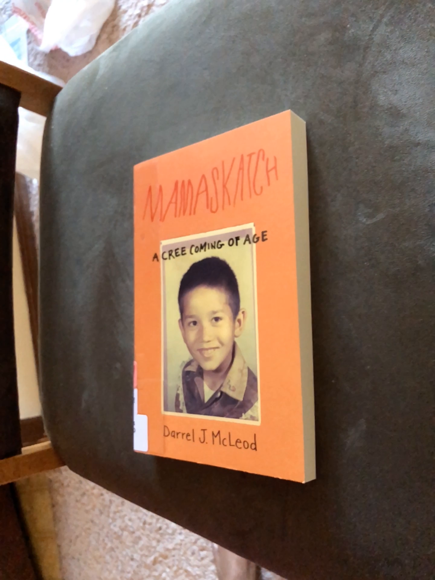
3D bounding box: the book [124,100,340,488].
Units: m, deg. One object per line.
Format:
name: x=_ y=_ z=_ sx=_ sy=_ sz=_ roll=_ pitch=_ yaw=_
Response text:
book: x=0.001 y=0.005 z=0.335 sx=0.151 sy=0.040 sz=0.218 roll=-5 pitch=84 yaw=40
